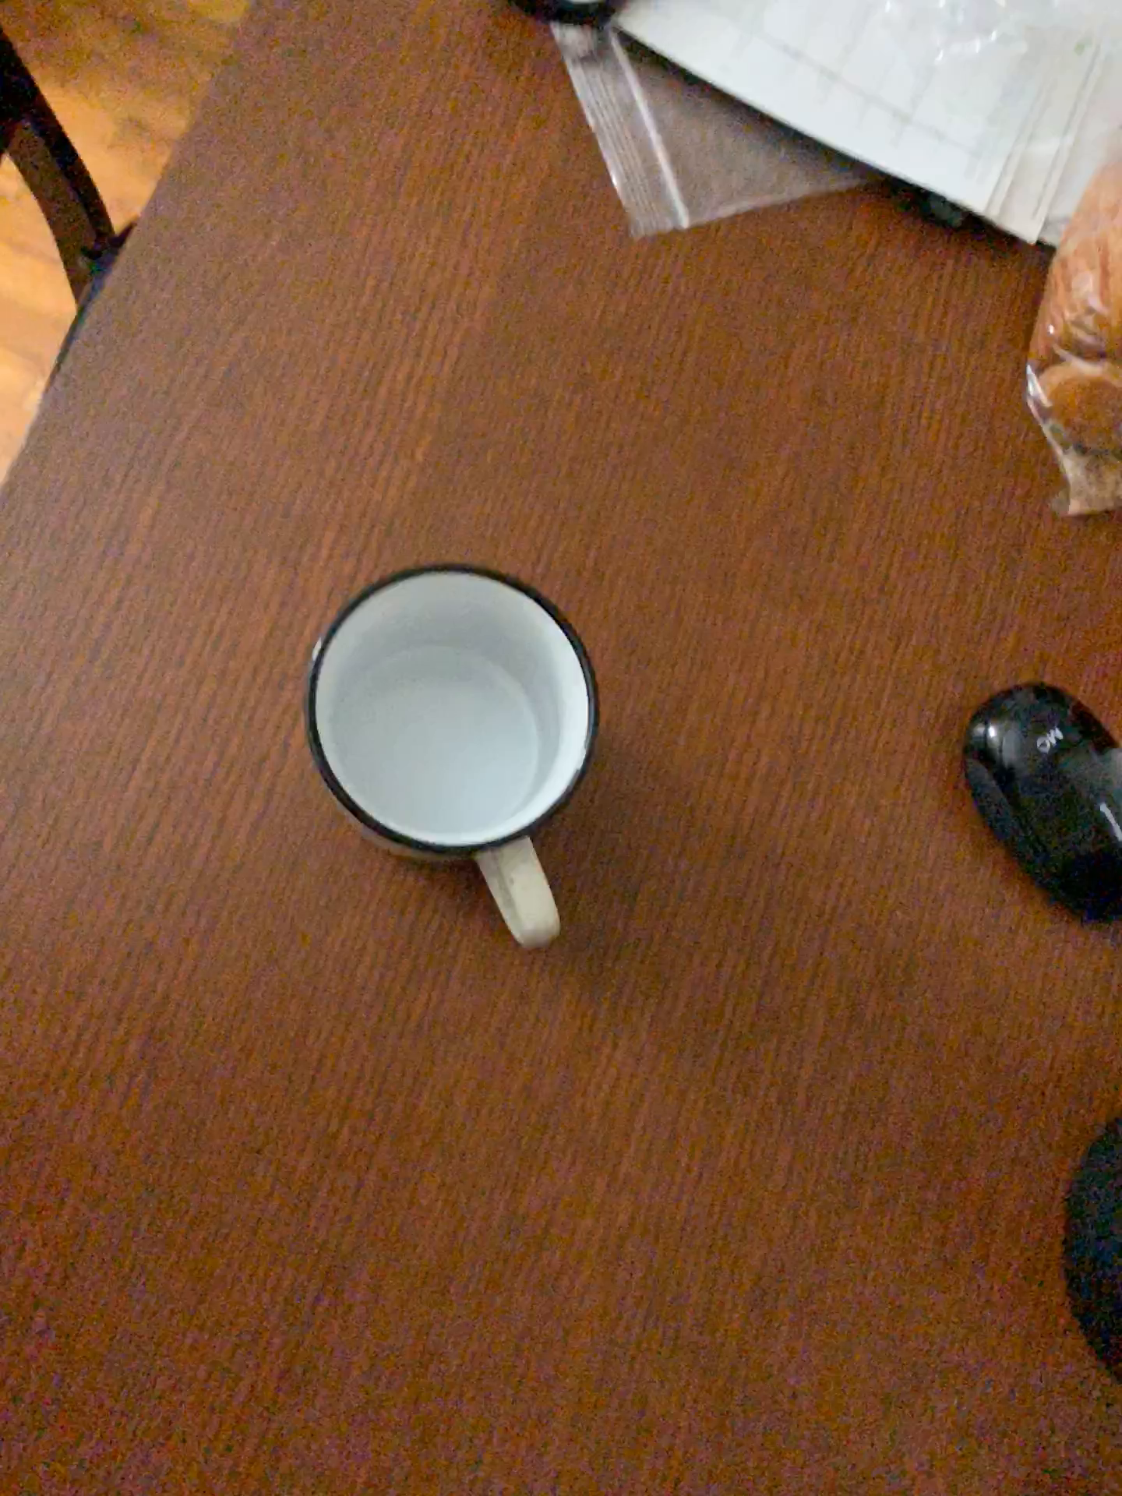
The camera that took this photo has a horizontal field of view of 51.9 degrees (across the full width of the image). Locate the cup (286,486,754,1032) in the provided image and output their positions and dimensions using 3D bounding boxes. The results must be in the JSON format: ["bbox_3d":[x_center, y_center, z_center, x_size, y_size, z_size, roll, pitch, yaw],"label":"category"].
[{"bbox_3d":[-0.021,0.008,0.416,0.100,0.100,0.150,-22,85,-13],"label":"cup"}]
